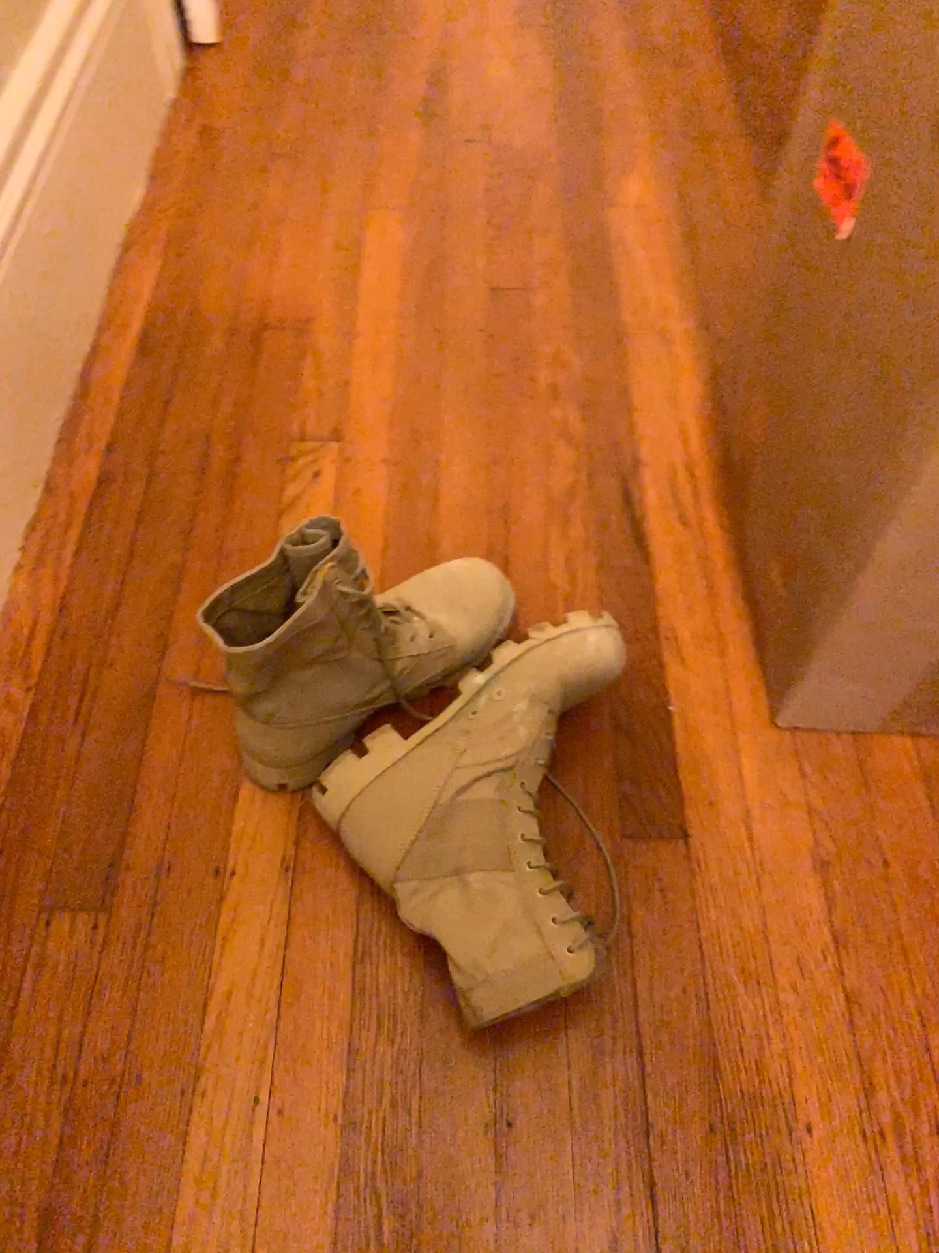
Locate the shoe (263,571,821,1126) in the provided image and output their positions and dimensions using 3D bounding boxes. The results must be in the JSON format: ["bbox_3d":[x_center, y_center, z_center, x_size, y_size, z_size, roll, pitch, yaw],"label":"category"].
[{"bbox_3d":[0.048,0.151,0.713,0.290,0.110,0.261,-35,70,-21],"label":"shoe"}]

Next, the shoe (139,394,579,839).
[{"bbox_3d":[-0.071,-0.006,0.747,0.290,0.199,0.120,-37,65,-22],"label":"shoe"}]
